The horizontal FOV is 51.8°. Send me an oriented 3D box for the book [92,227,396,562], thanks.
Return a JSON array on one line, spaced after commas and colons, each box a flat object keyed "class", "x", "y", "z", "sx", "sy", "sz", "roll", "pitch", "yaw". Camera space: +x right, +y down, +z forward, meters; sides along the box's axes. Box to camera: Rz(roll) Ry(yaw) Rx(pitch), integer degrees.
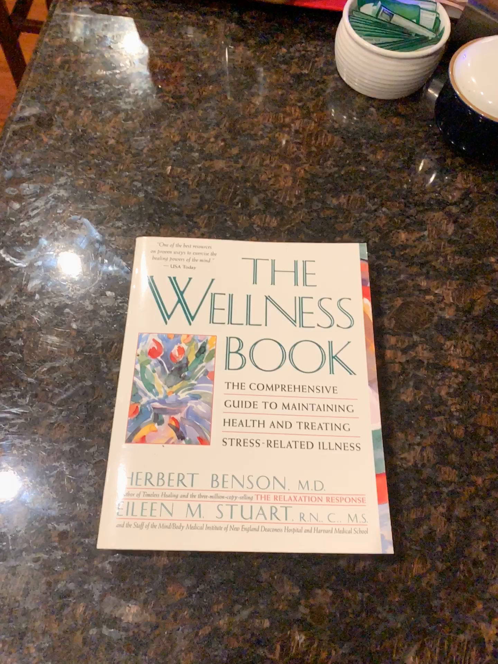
[{"class": "book", "x": -0.001, "y": 0.041, "z": 0.391, "sx": 0.187, "sy": 0.060, "sz": 0.240, "roll": 2, "pitch": 66, "yaw": -1}]
